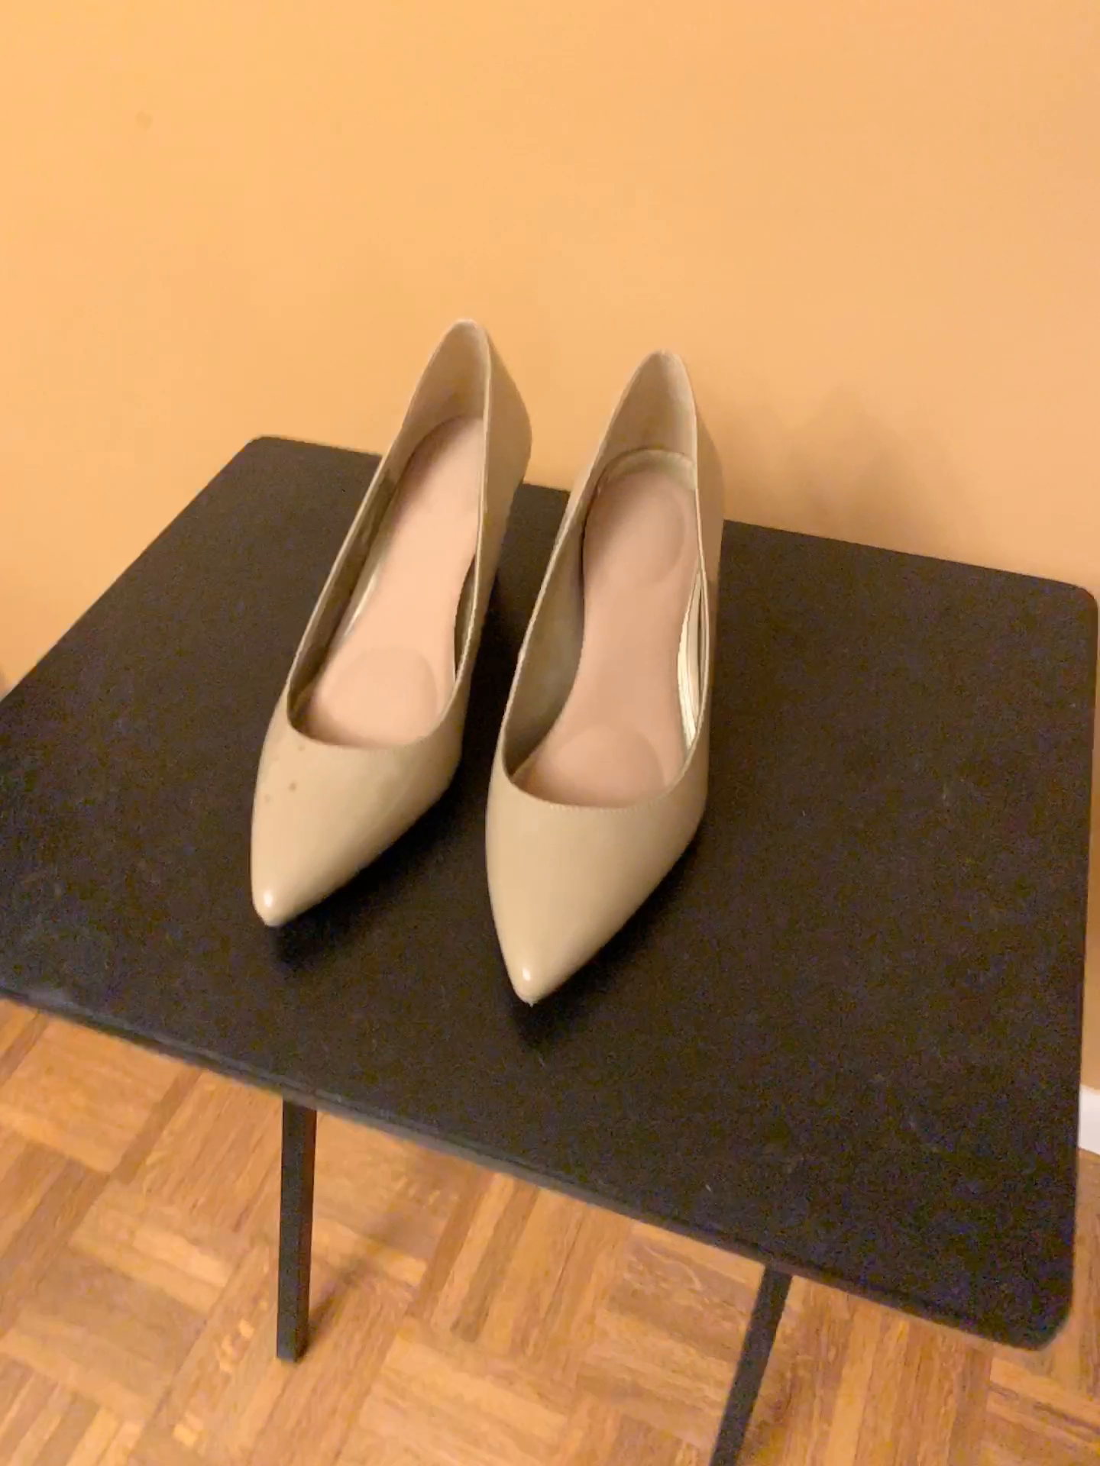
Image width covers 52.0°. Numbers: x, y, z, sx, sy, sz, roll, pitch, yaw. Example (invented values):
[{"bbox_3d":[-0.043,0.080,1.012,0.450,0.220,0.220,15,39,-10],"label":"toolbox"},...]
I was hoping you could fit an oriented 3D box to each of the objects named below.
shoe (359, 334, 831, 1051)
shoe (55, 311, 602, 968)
[{"bbox_3d":[0.036,-0.041,0.449,0.100,0.090,0.301,11,48,12],"label":"shoe"},{"bbox_3d":[-0.065,-0.062,0.478,0.100,0.090,0.301,11,48,12],"label":"shoe"}]
